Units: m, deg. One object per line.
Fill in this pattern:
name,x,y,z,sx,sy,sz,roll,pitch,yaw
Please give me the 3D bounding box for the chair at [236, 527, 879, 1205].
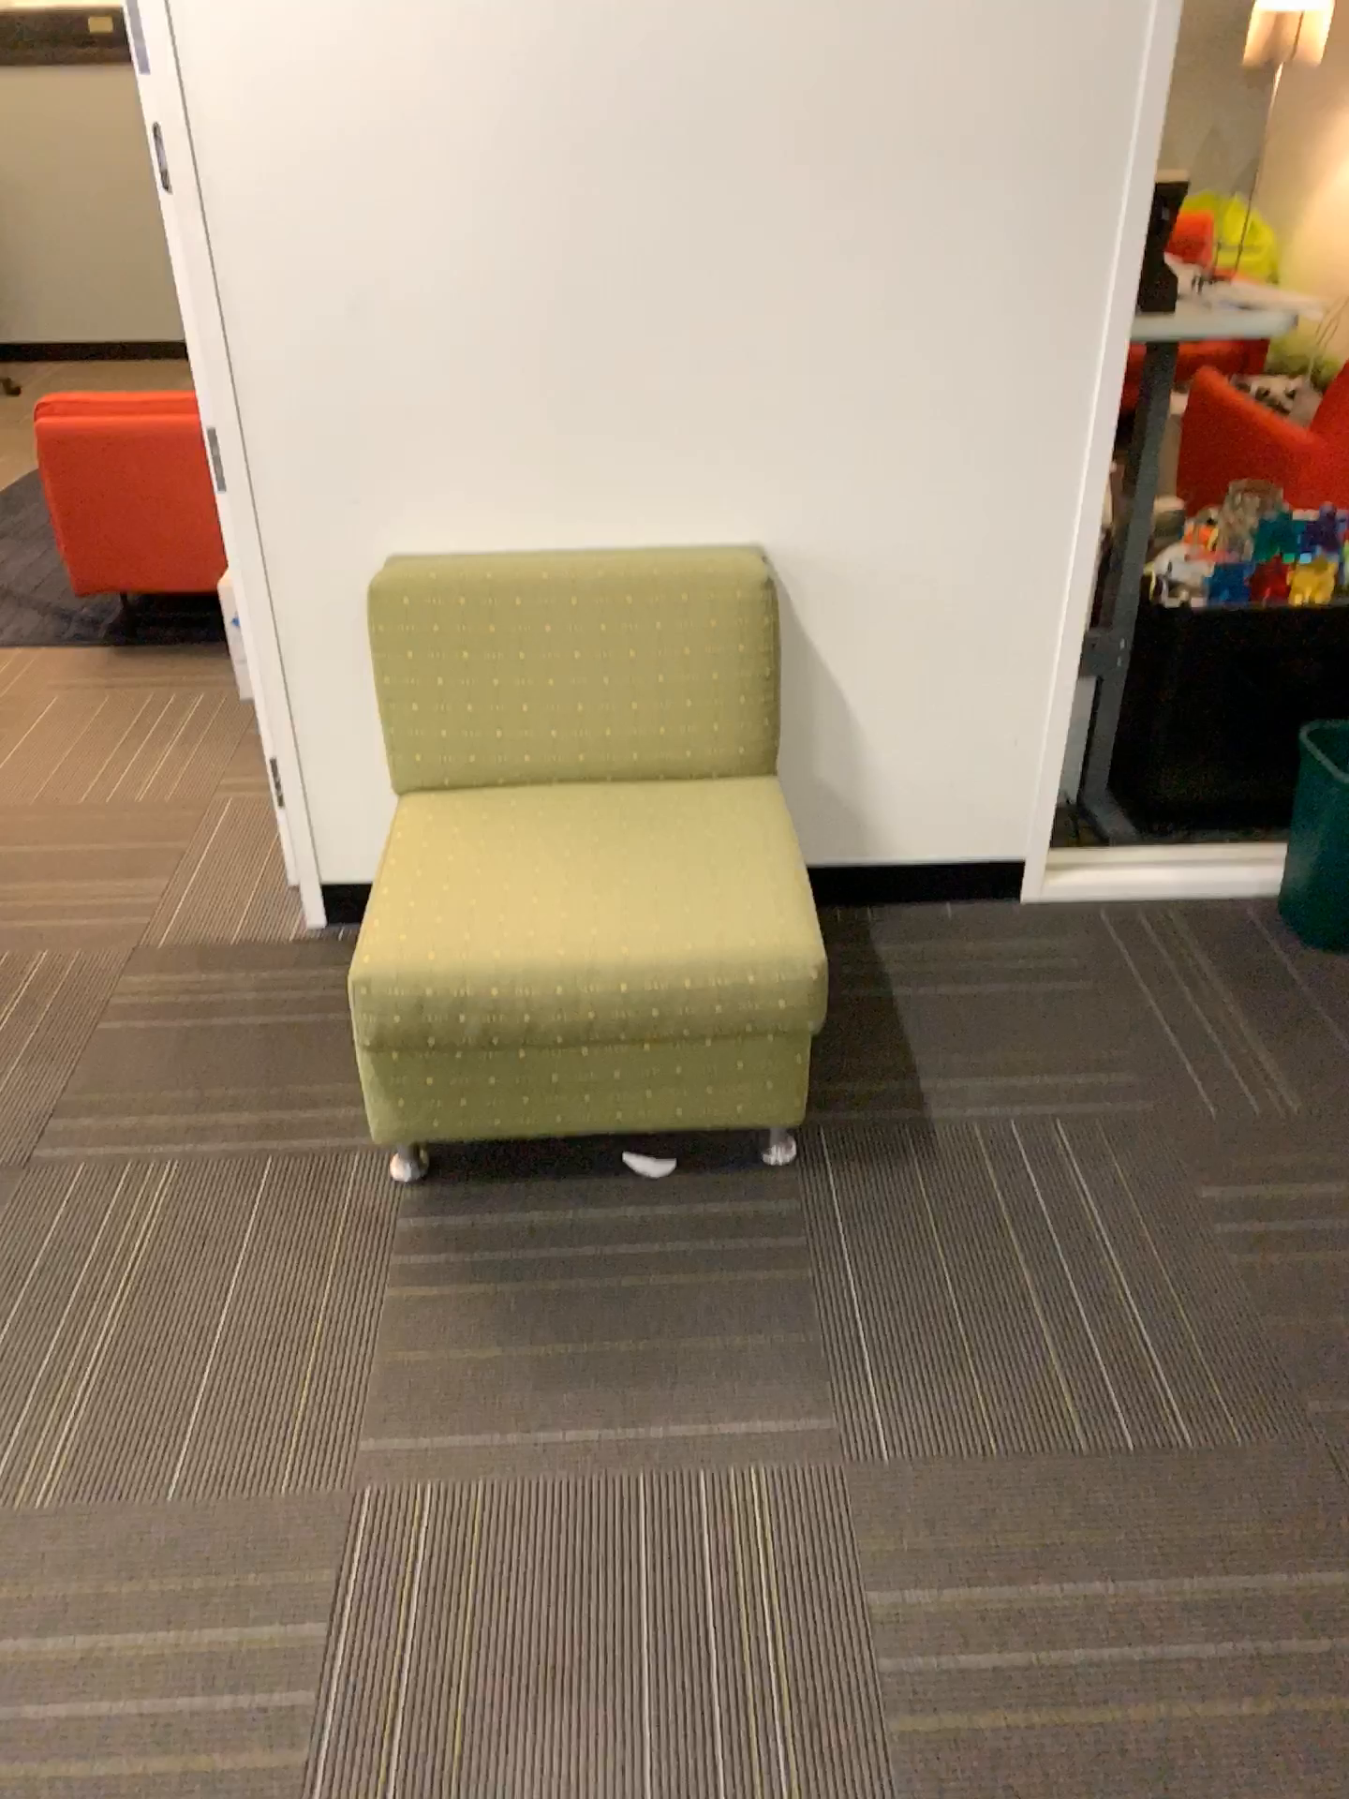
chair,-0.143,-0.088,2.078,0.730,0.686,0.784,-2,33,-2
